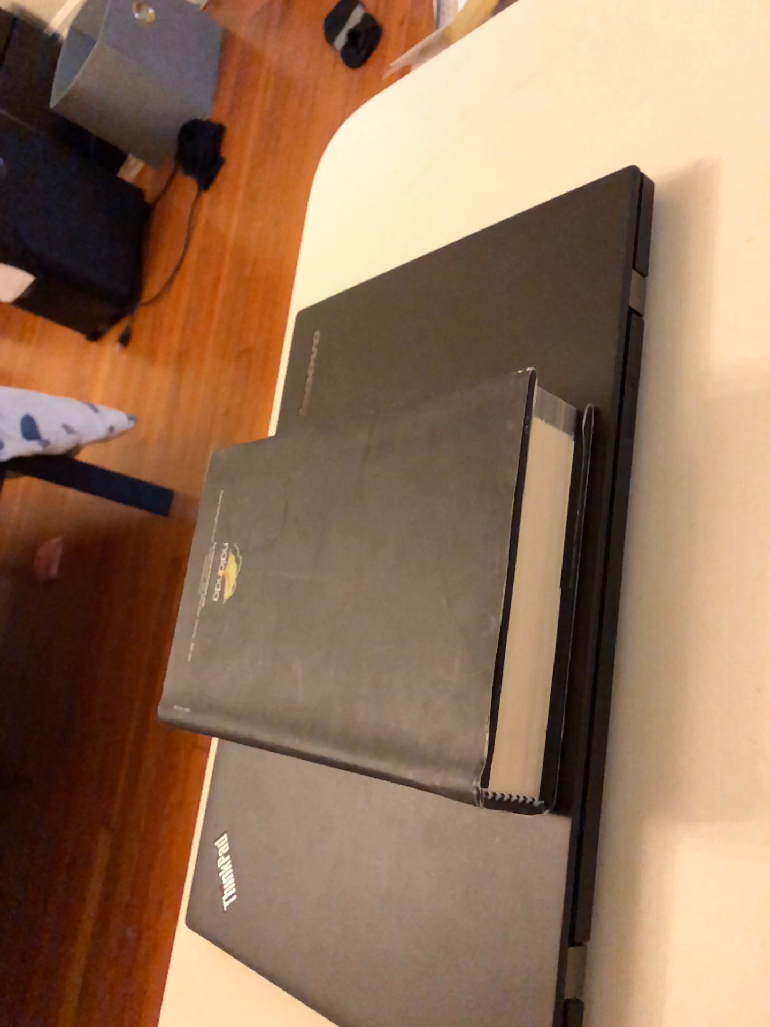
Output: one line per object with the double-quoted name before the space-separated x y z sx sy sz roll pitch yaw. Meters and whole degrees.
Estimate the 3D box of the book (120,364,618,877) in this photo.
"book" -0.023 0.038 0.347 0.231 0.040 0.150 -5 71 49
